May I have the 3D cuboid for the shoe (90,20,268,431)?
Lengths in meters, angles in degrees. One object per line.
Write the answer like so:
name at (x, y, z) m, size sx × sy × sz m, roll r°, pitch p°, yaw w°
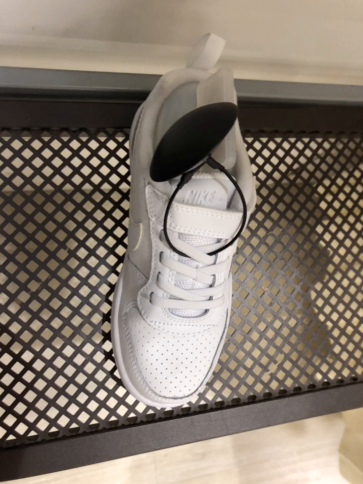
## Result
shoe at (-0.007, -0.006, 0.251) m, size 0.080 × 0.100 × 0.200 m, roll 4°, pitch 80°, yaw -14°
